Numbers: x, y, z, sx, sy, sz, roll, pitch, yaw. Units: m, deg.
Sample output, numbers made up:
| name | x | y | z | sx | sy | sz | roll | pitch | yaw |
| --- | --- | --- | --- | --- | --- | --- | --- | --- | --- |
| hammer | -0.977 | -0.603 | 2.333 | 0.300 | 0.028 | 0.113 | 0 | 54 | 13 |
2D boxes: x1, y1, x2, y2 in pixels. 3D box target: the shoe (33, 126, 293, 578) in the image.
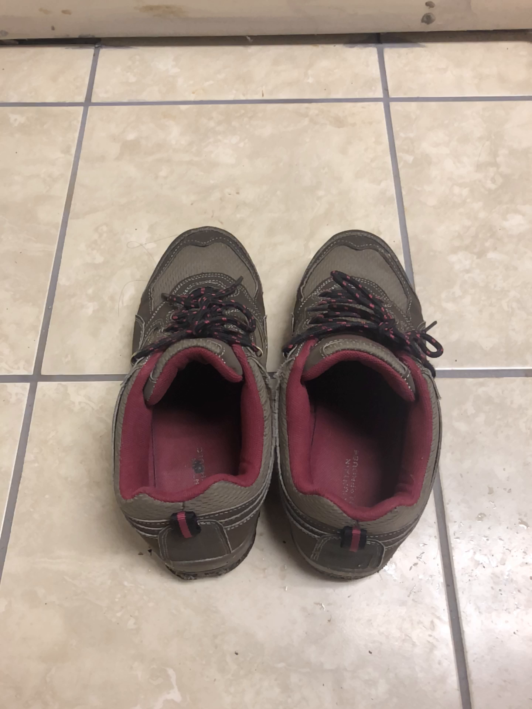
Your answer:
| name | x | y | z | sx | sy | sz | roll | pitch | yaw |
| --- | --- | --- | --- | --- | --- | --- | --- | --- | --- |
| shoe | -0.046 | -0.004 | 0.383 | 0.120 | 0.120 | 0.271 | 0 | 64 | 1 |

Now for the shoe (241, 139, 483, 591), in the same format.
| name | x | y | z | sx | sy | sz | roll | pitch | yaw |
| --- | --- | --- | --- | --- | --- | --- | --- | --- | --- |
| shoe | 0.054 | 0.004 | 0.378 | 0.110 | 0.120 | 0.261 | 3 | 64 | 3 |
